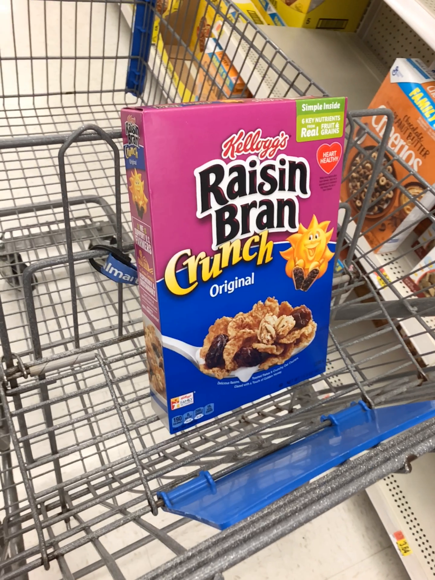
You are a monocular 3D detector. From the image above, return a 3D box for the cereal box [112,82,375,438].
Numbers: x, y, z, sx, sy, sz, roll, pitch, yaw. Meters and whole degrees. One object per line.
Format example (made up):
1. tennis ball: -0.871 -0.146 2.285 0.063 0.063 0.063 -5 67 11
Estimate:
1. cereal box: 0.032 -0.032 0.437 0.210 0.280 0.060 -15 27 -27
